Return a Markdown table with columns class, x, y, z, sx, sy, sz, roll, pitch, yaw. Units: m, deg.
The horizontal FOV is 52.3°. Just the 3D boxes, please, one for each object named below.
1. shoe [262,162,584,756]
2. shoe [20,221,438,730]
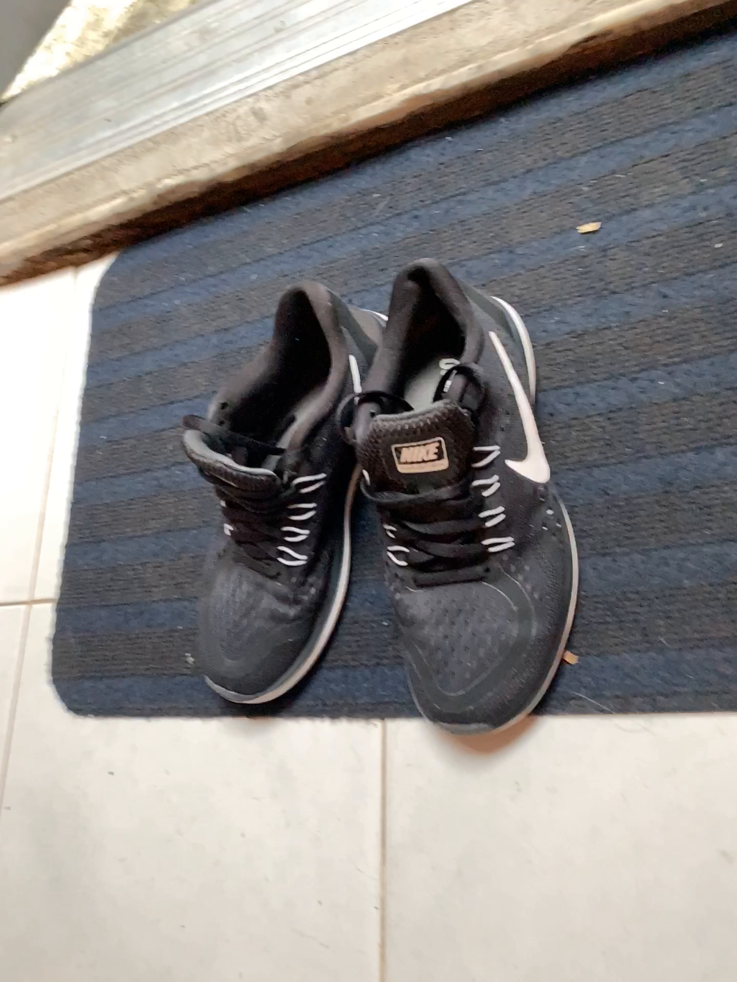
| class | x | y | z | sx | sy | sz | roll | pitch | yaw |
| --- | --- | --- | --- | --- | --- | --- | --- | --- | --- |
| shoe | 0.035 | -0.006 | 0.371 | 0.107 | 0.119 | 0.248 | -6 | 72 | 26 |
| shoe | -0.068 | -0.006 | 0.425 | 0.104 | 0.119 | 0.248 | 15 | 82 | 30 |
